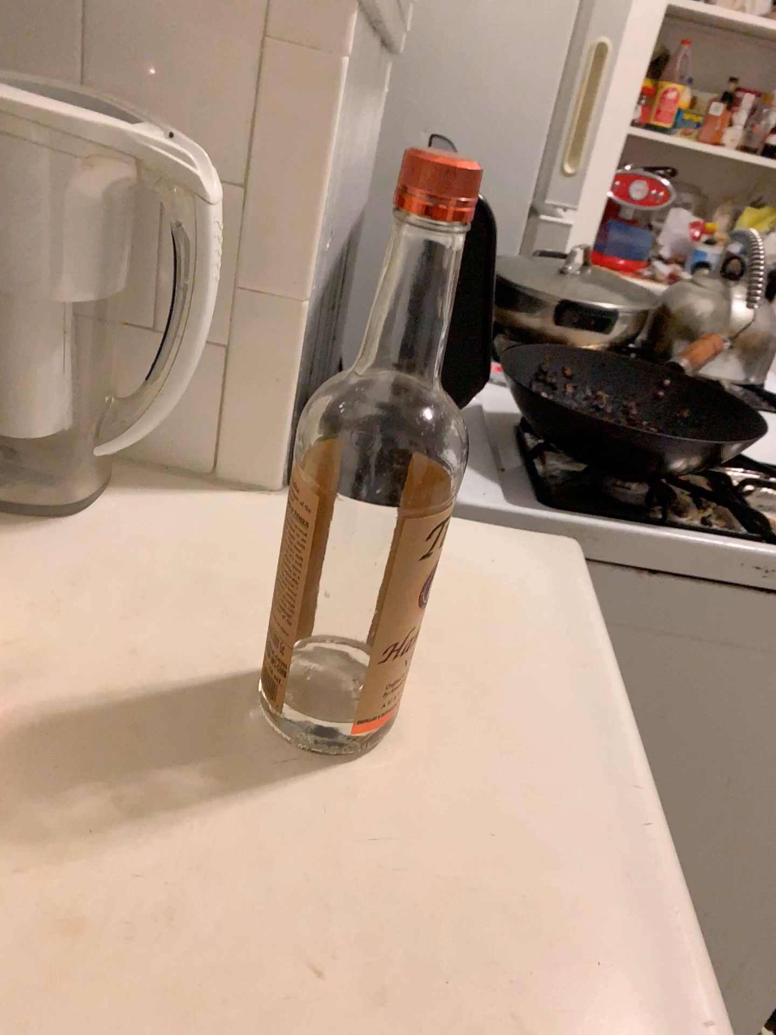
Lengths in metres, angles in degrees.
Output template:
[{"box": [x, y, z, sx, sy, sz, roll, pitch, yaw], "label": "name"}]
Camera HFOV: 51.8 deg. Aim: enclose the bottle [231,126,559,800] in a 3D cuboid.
[{"box": [-0.004, -0.012, 0.367, 0.080, 0.288, 0.080, 10, 28, -6], "label": "bottle"}]
